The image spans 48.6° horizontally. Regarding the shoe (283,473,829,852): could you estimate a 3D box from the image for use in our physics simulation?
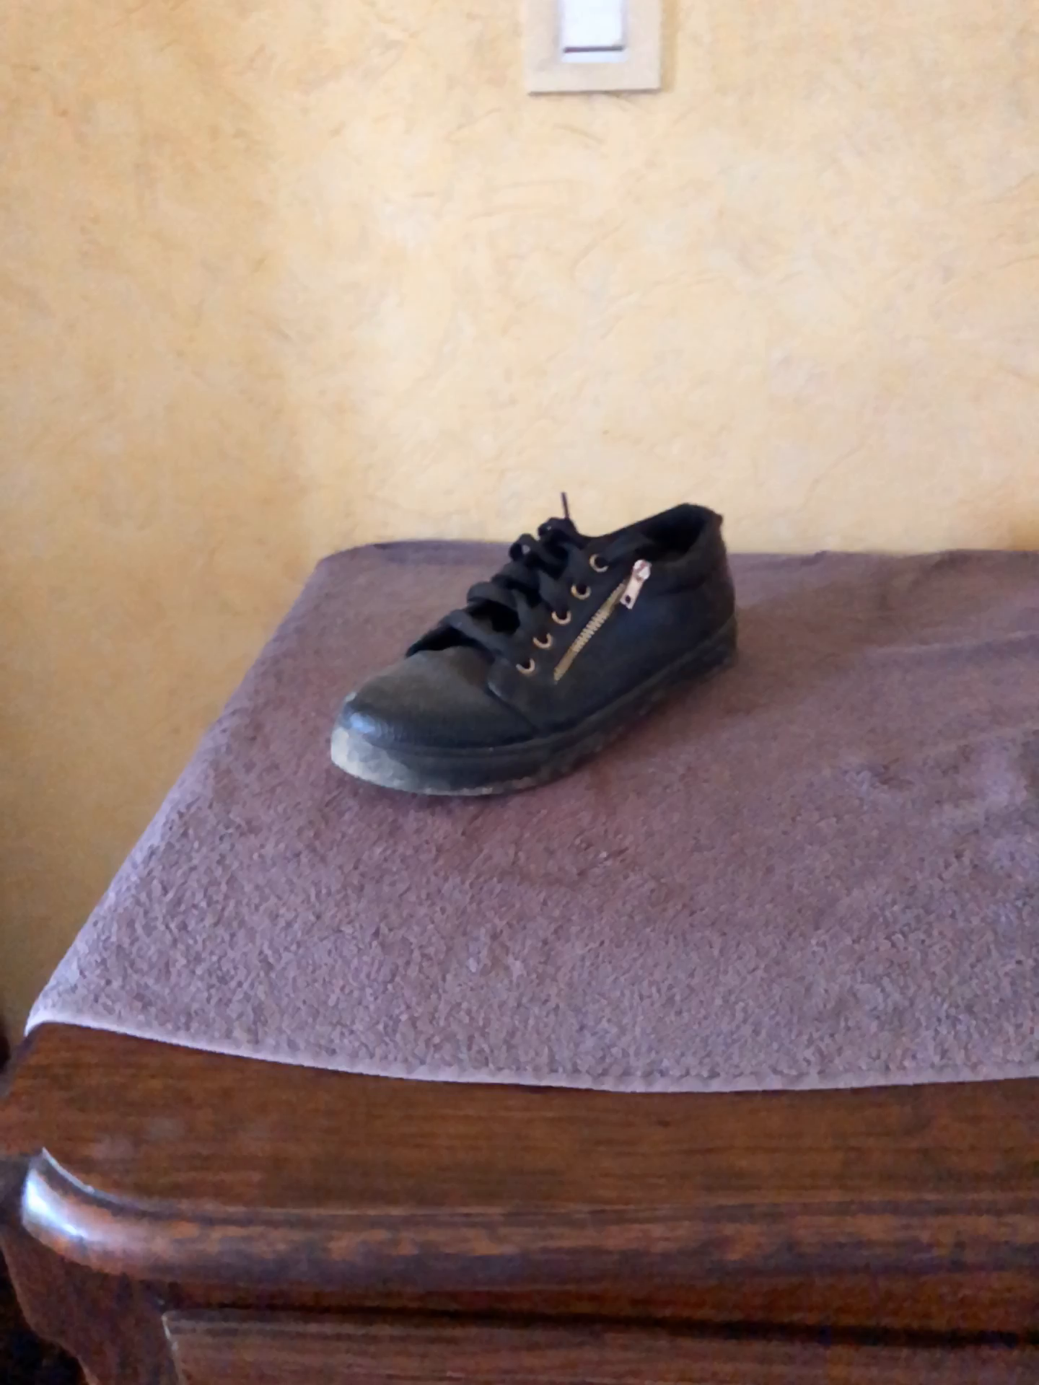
[{"bbox_3d":[0.030,-0.031,0.581,0.271,0.089,0.100,-22,33,-36],"label":"shoe"}]
